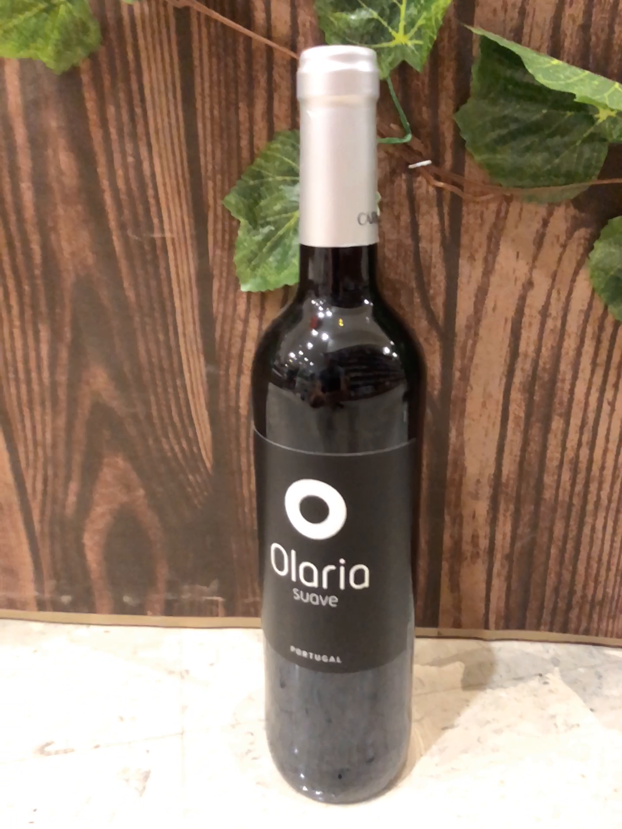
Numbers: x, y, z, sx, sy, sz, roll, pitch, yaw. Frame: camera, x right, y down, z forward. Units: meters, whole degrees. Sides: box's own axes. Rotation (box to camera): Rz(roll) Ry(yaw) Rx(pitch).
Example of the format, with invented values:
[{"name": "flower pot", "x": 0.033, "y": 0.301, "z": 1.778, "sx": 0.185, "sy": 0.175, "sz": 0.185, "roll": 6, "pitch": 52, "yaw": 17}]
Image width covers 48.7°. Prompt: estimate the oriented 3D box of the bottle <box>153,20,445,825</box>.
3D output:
[{"name": "bottle", "x": 0.005, "y": 0.016, "z": 0.284, "sx": 0.080, "sy": 0.298, "sz": 0.080, "roll": -1, "pitch": 20, "yaw": 0}]
